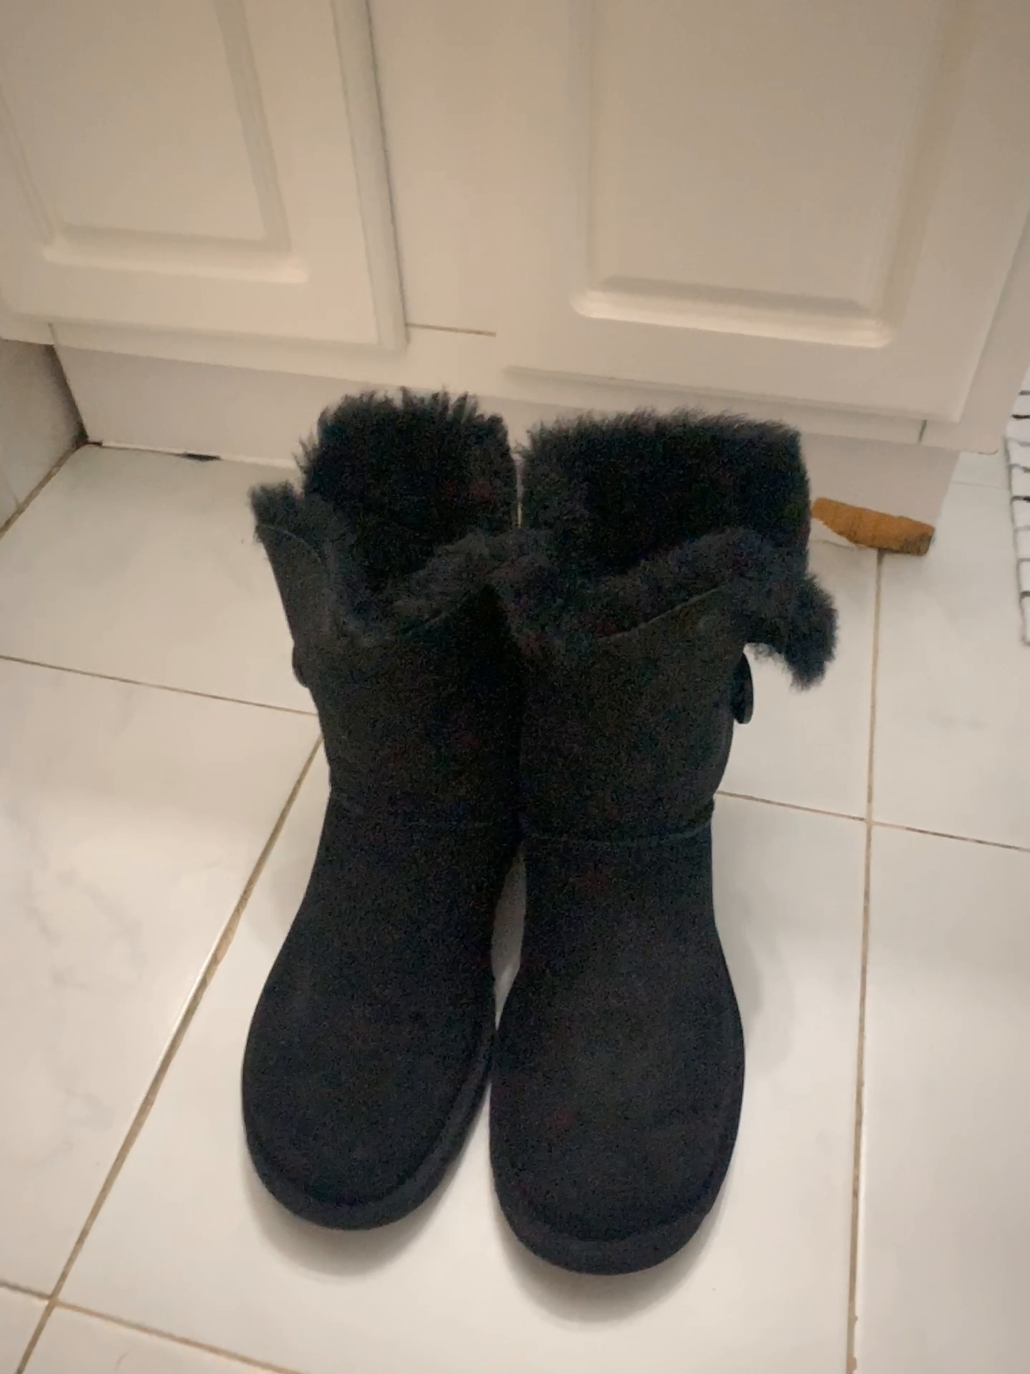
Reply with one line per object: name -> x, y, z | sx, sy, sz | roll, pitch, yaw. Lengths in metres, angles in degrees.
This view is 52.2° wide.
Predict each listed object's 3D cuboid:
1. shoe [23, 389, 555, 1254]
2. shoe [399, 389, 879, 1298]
shoe -> -0.051, 0.039, 0.418 | 0.120, 0.169, 0.291 | 2, 49, 4
shoe -> 0.045, 0.049, 0.405 | 0.110, 0.189, 0.281 | 4, 49, 5
